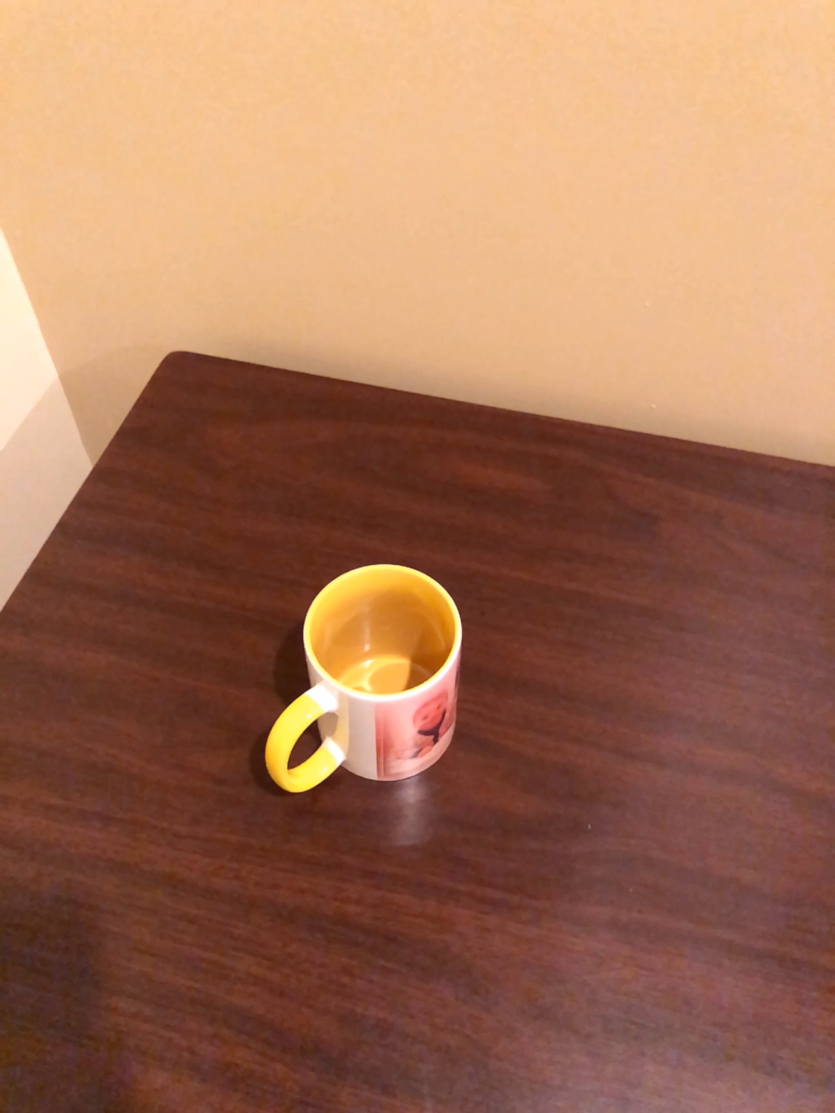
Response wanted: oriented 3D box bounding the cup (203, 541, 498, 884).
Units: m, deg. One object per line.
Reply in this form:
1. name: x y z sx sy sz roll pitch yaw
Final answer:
1. cup: -0.030 0.082 0.488 0.090 0.100 0.120 28 57 20
